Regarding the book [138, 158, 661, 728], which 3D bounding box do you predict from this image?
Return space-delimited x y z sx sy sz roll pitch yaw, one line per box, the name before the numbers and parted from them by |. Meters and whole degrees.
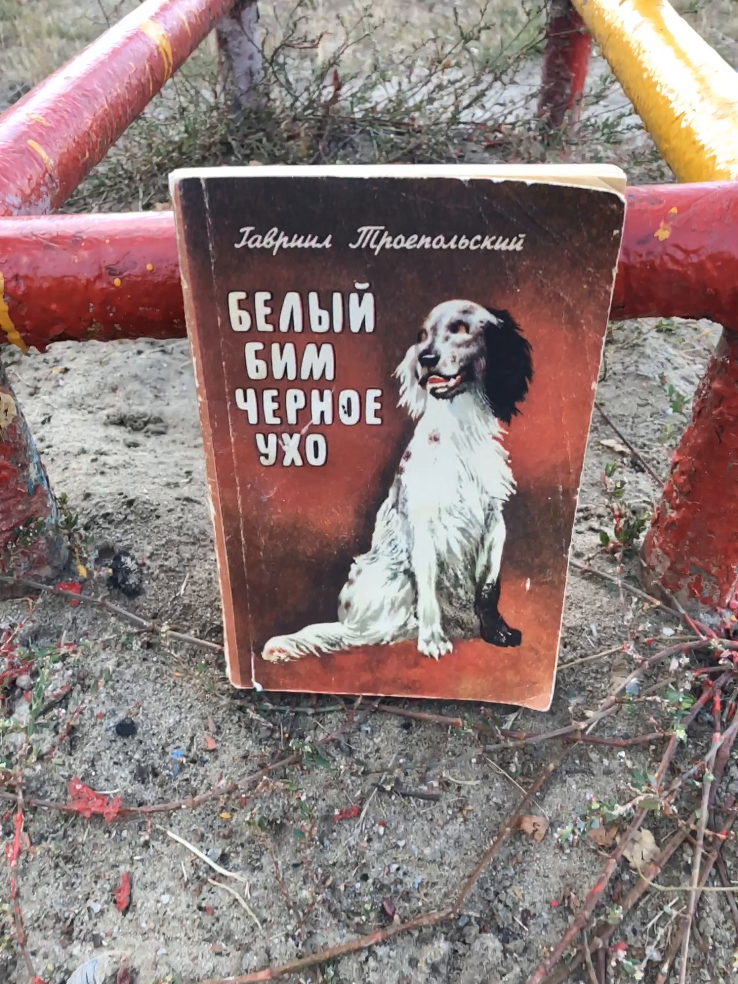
book | 0.009 -0.003 0.270 0.130 0.196 0.030 2 34 5
